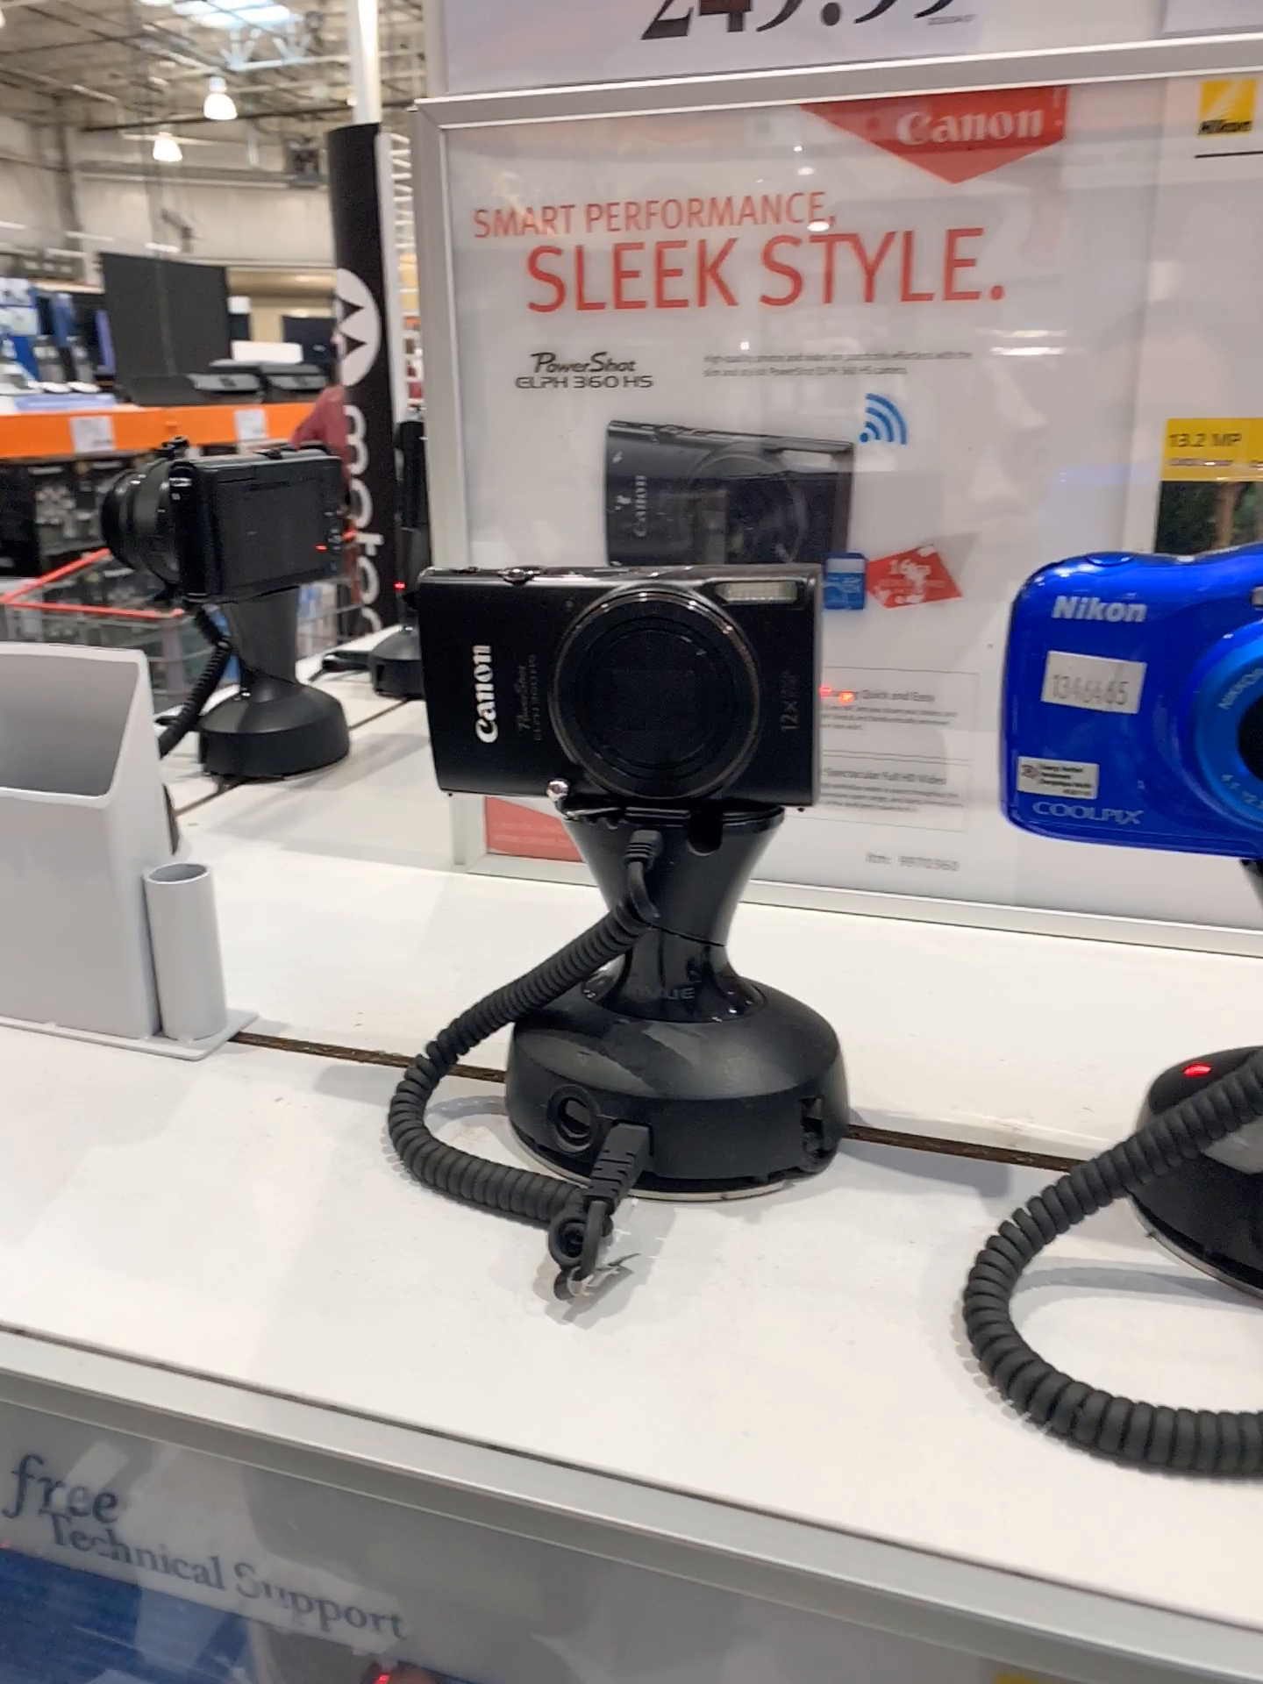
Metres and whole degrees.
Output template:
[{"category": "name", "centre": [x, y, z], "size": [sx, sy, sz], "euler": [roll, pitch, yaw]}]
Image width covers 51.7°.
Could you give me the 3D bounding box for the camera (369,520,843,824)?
[{"category": "camera", "centre": [-0.004, -0.042, 0.303], "size": [0.100, 0.060, 0.040], "euler": [4, 19, 12]}]
